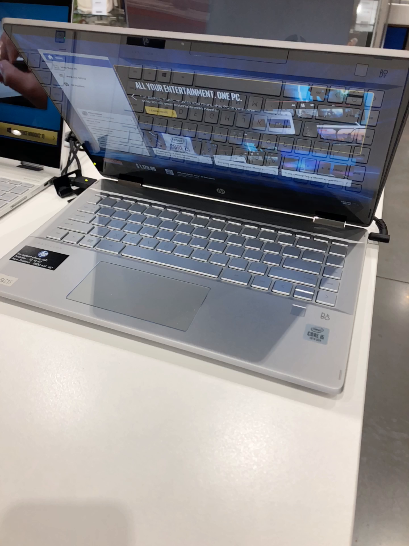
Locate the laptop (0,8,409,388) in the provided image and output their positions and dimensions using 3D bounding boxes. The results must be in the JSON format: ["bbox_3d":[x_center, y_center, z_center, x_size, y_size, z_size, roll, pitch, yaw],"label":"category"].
[{"bbox_3d":[-0.020,-0.091,0.372,0.318,0.185,0.207,13,40,17],"label":"laptop"}]
